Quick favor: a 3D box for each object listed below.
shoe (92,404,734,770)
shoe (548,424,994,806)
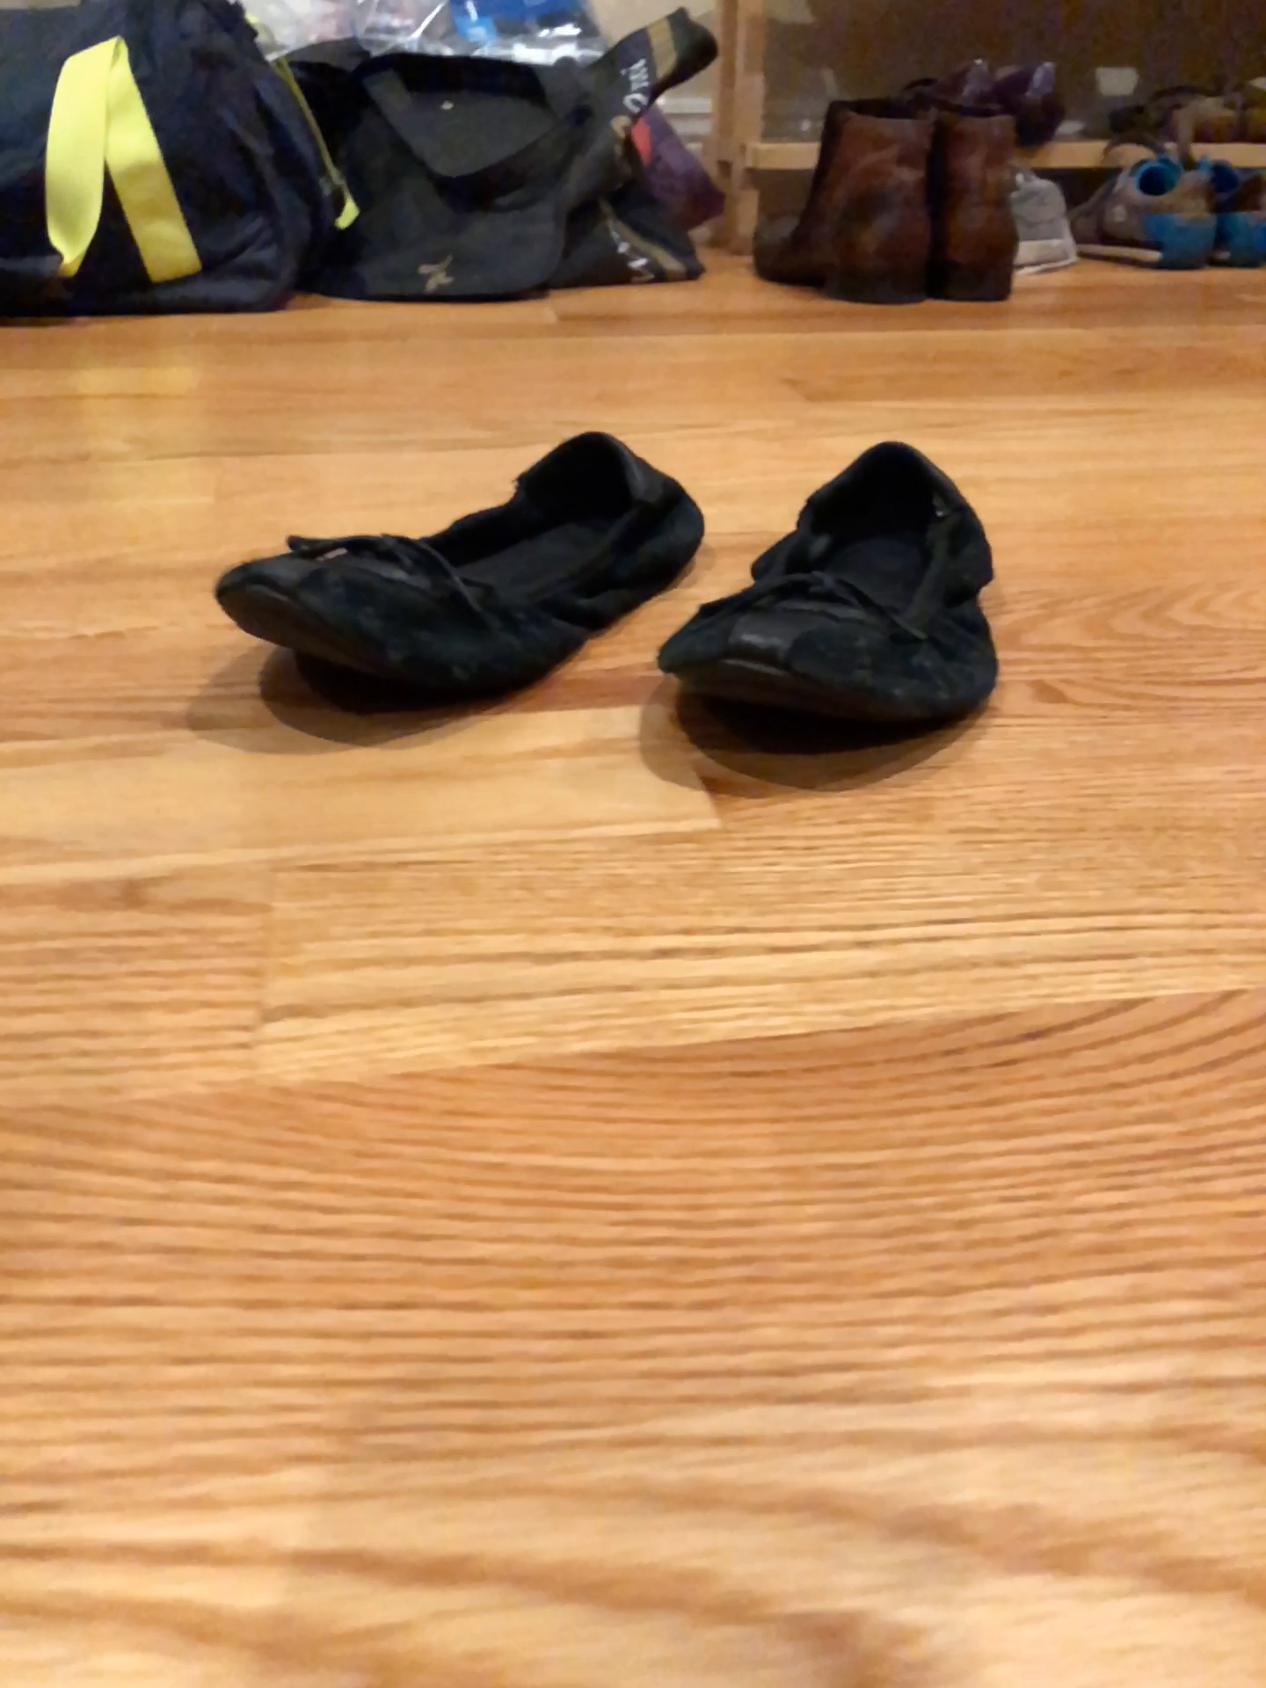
[{"bbox_3d":[-0.056,-0.098,0.468,0.100,0.050,0.221,14,31,23],"label":"shoe"},{"bbox_3d":[0.056,-0.086,0.445,0.093,0.046,0.221,9,29,15],"label":"shoe"}]
